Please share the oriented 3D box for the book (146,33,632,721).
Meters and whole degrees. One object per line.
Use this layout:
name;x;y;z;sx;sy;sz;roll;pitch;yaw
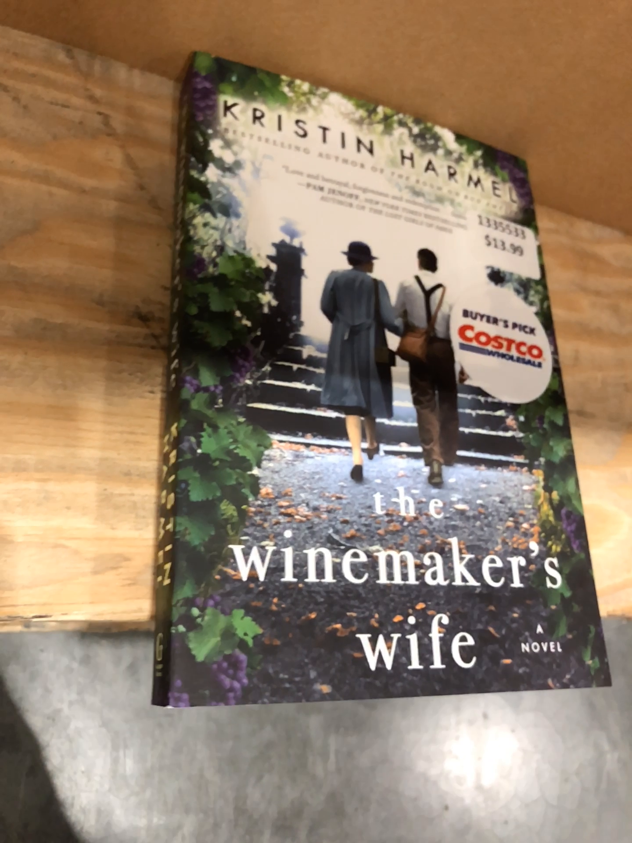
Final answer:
book;0.026;-0.019;0.259;0.155;0.035;0.229;8;65;-23
